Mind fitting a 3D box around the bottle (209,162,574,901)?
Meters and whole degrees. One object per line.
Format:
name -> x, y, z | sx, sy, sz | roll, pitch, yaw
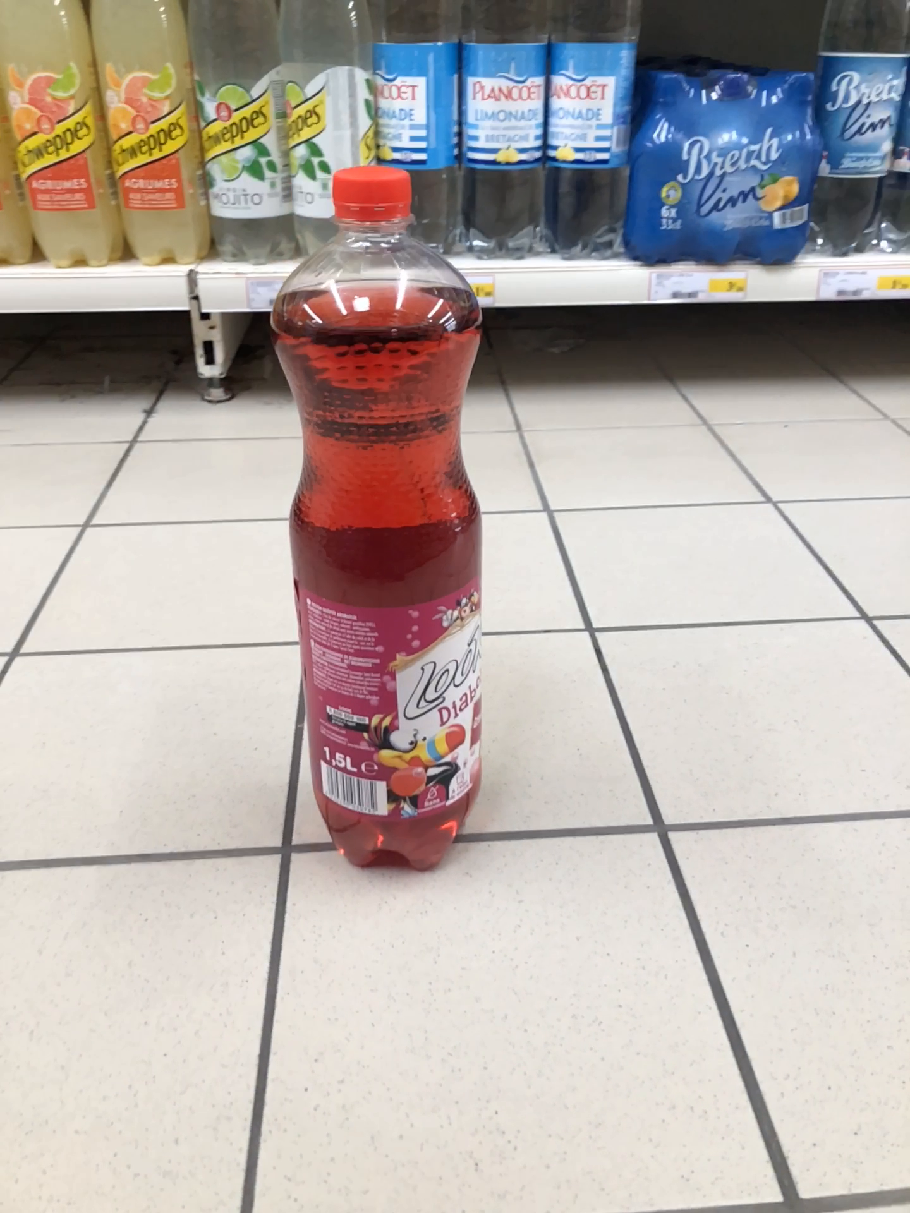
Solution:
bottle -> -0.022, -0.029, 0.460 | 0.100, 0.308, 0.101 | 0, 29, 0
